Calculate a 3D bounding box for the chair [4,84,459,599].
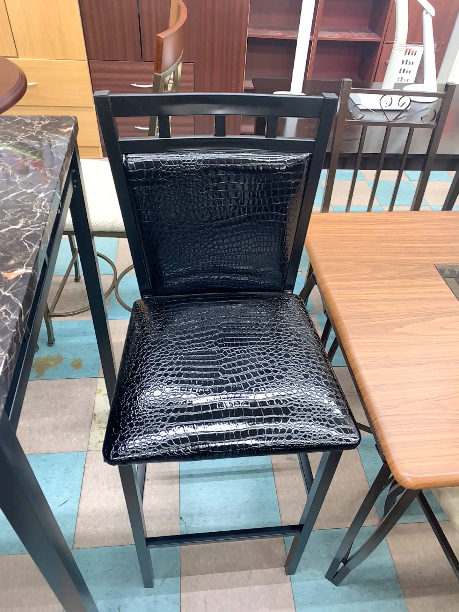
[{"bbox_3d":[-0.014,0.174,0.926,0.444,1.026,0.419,-2,43,-5],"label":"chair"}]
